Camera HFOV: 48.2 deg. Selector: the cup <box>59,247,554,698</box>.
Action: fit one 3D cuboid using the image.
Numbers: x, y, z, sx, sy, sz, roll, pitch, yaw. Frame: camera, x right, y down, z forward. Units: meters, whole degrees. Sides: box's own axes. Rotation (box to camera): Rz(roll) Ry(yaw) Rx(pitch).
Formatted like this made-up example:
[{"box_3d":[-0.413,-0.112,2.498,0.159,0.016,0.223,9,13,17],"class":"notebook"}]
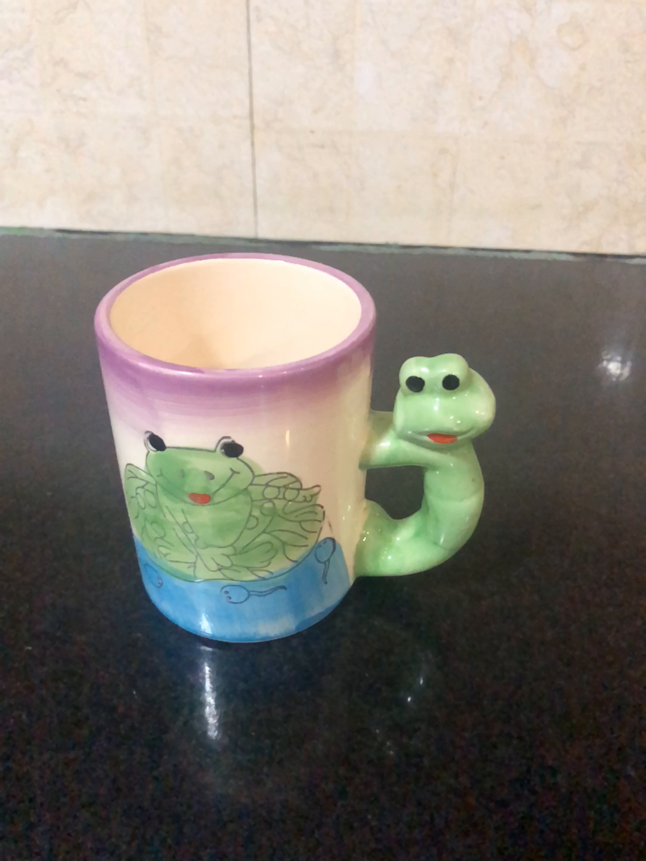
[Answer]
[{"box_3d":[-0.006,0.011,0.224,0.110,0.109,0.081,-2,34,-4],"class":"cup"}]
